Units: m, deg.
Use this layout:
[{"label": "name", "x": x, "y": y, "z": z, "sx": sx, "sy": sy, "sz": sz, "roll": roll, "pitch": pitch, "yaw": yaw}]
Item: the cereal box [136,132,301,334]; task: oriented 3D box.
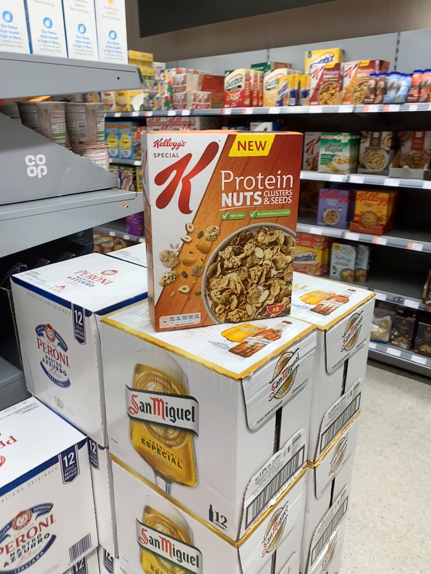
[{"label": "cereal box", "x": 0.004, "y": -0.071, "z": 0.562, "sx": 0.190, "sy": 0.238, "sz": 0.050, "roll": -6, "pitch": 20, "yaw": -15}]
